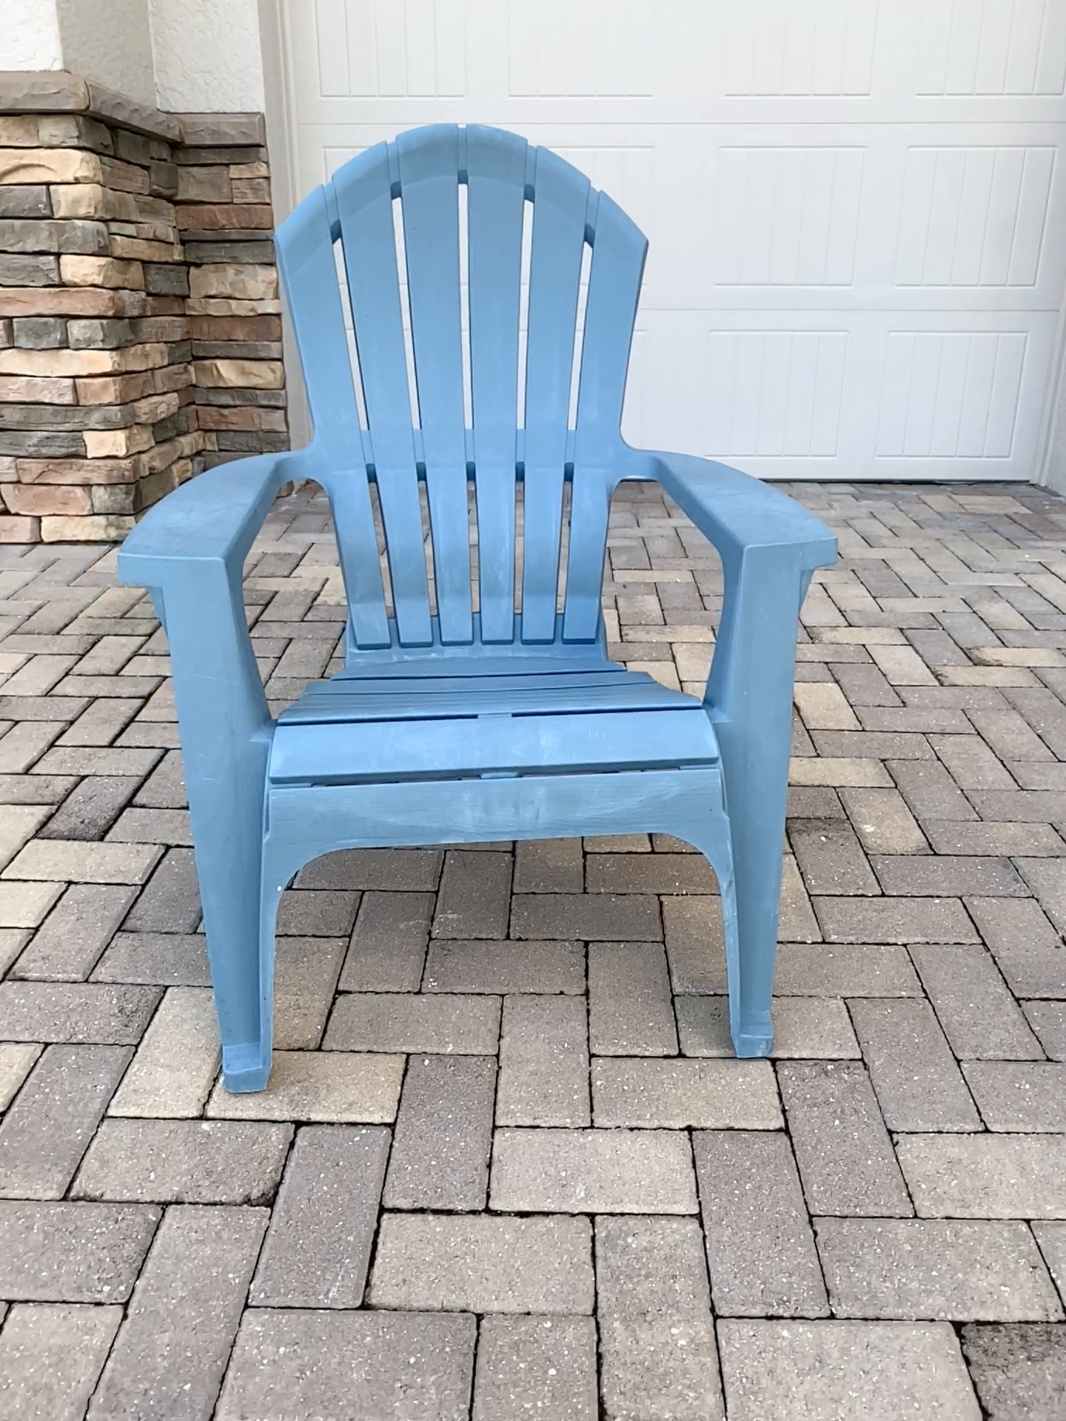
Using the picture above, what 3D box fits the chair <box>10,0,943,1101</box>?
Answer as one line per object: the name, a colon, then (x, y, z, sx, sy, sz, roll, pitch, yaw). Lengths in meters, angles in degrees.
chair: (-0.068, -0.224, 1.335, 0.681, 0.987, 0.800, -2, 20, -5)
